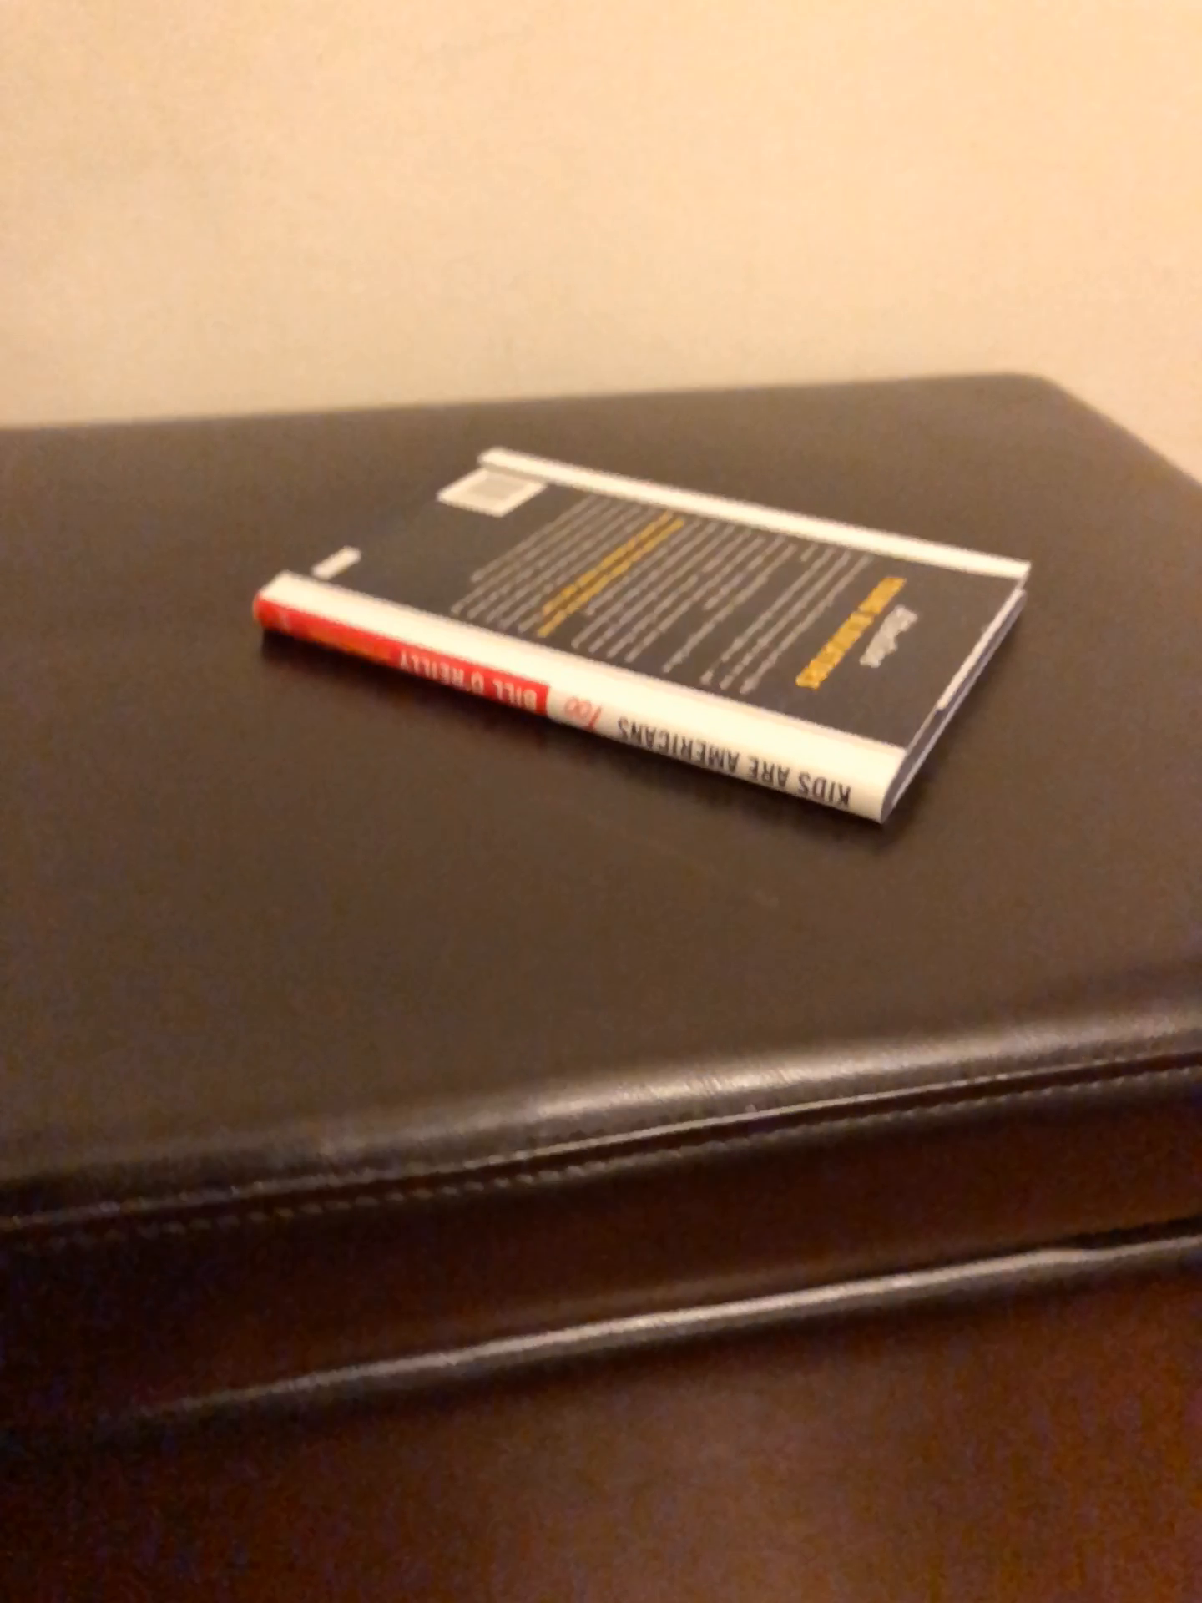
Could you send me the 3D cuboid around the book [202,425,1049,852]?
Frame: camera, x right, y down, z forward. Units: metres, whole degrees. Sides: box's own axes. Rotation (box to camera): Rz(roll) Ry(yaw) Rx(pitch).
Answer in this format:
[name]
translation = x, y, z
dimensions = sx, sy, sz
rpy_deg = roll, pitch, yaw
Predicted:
[book]
translation = 0.012, -0.069, 0.444
dimensions = 0.230, 0.020, 0.161
rpy_deg = 18, 39, 22
